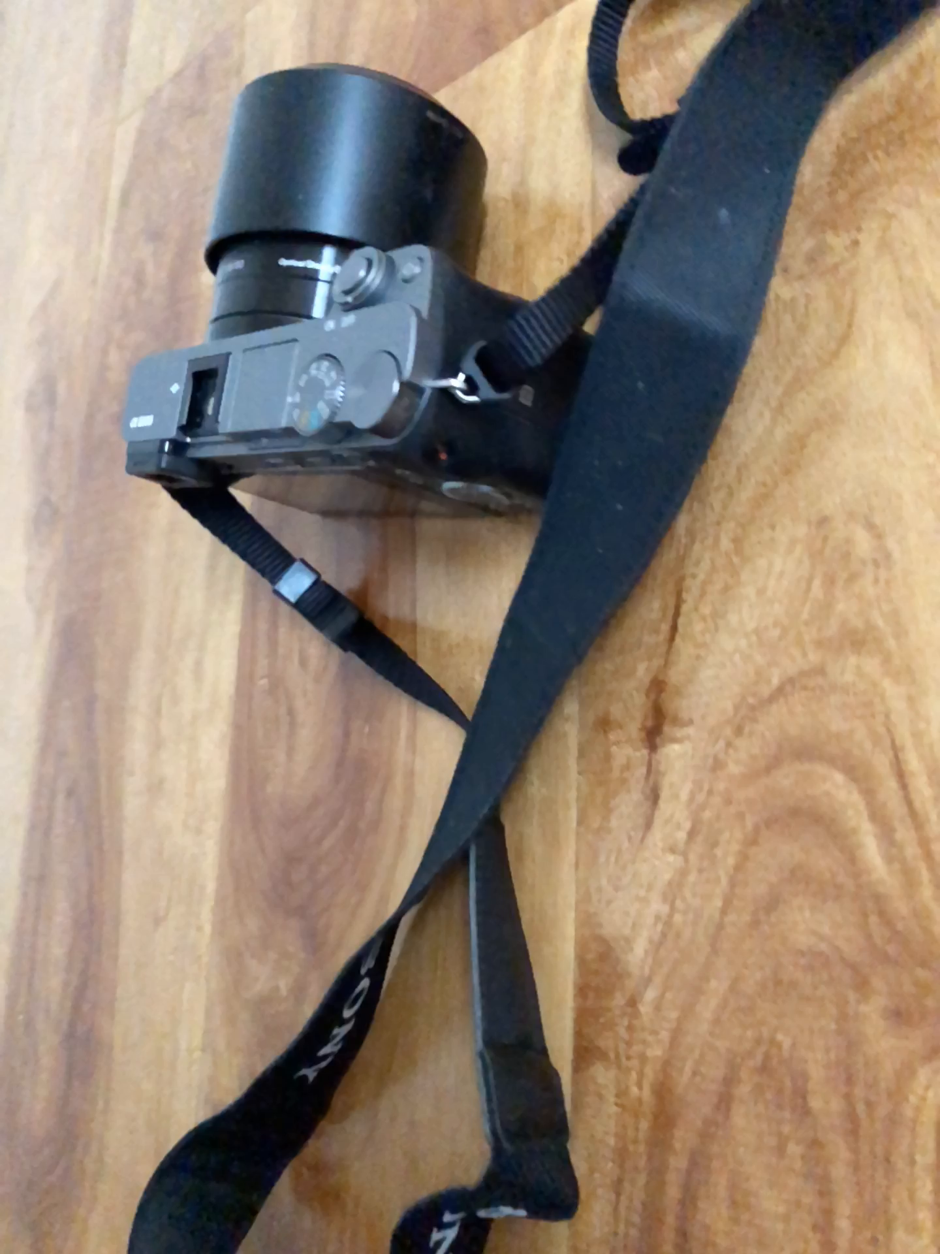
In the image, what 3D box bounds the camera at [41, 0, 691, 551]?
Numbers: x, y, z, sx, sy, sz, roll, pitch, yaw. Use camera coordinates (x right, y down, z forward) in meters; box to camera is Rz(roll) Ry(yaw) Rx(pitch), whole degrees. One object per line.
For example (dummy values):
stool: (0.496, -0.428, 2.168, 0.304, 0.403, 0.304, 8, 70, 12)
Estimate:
camera: (-0.033, -0.085, 0.273, 0.141, 0.080, 0.110, 7, 84, 46)
